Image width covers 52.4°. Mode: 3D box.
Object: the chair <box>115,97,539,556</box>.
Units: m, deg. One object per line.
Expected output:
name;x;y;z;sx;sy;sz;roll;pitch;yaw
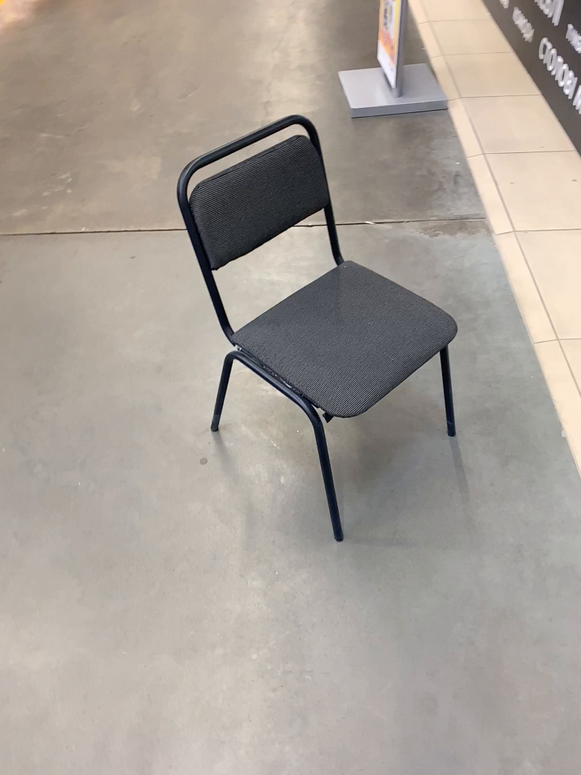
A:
chair;0.071;-0.151;1.435;0.551;0.737;0.632;-35;55;-25
